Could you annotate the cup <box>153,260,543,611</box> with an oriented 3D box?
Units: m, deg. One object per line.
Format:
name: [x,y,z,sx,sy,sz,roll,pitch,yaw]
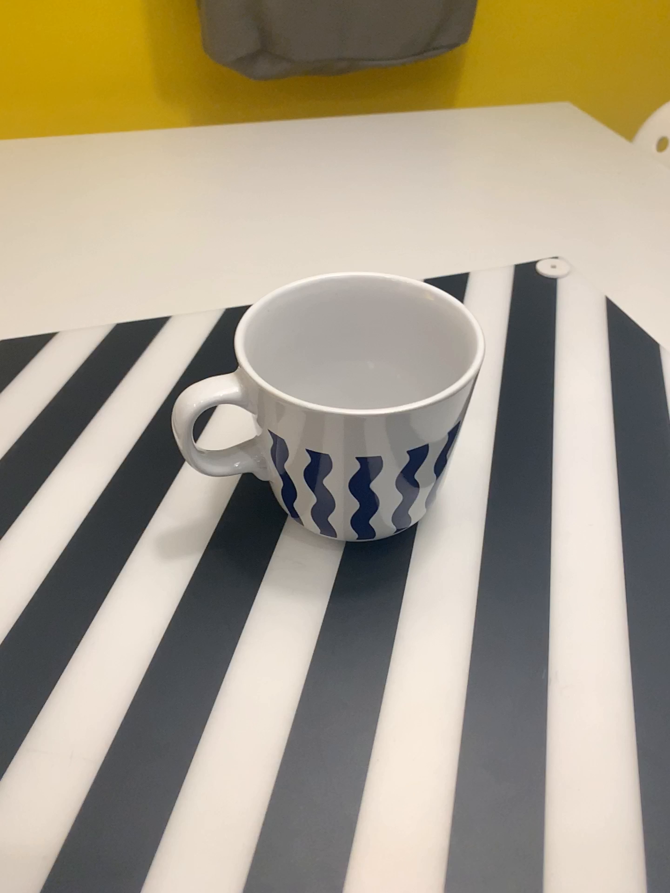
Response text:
cup: [-0.001,-0.009,0.262,0.110,0.070,0.090,-13,44,-15]
